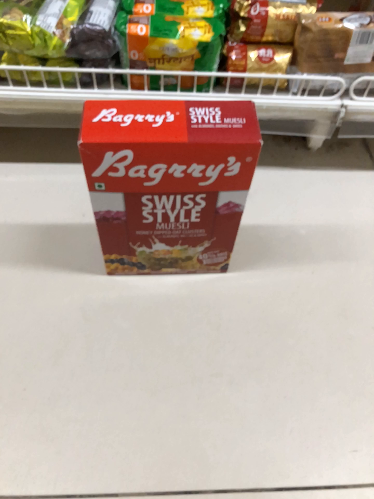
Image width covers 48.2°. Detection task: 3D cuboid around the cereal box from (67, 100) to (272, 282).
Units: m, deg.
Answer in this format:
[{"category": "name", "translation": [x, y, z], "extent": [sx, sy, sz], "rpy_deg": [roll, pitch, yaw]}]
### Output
[{"category": "cereal box", "translation": [-0.022, -0.052, 0.511], "extent": [0.190, 0.259, 0.060], "rpy_deg": [-1, 56, -4]}]
